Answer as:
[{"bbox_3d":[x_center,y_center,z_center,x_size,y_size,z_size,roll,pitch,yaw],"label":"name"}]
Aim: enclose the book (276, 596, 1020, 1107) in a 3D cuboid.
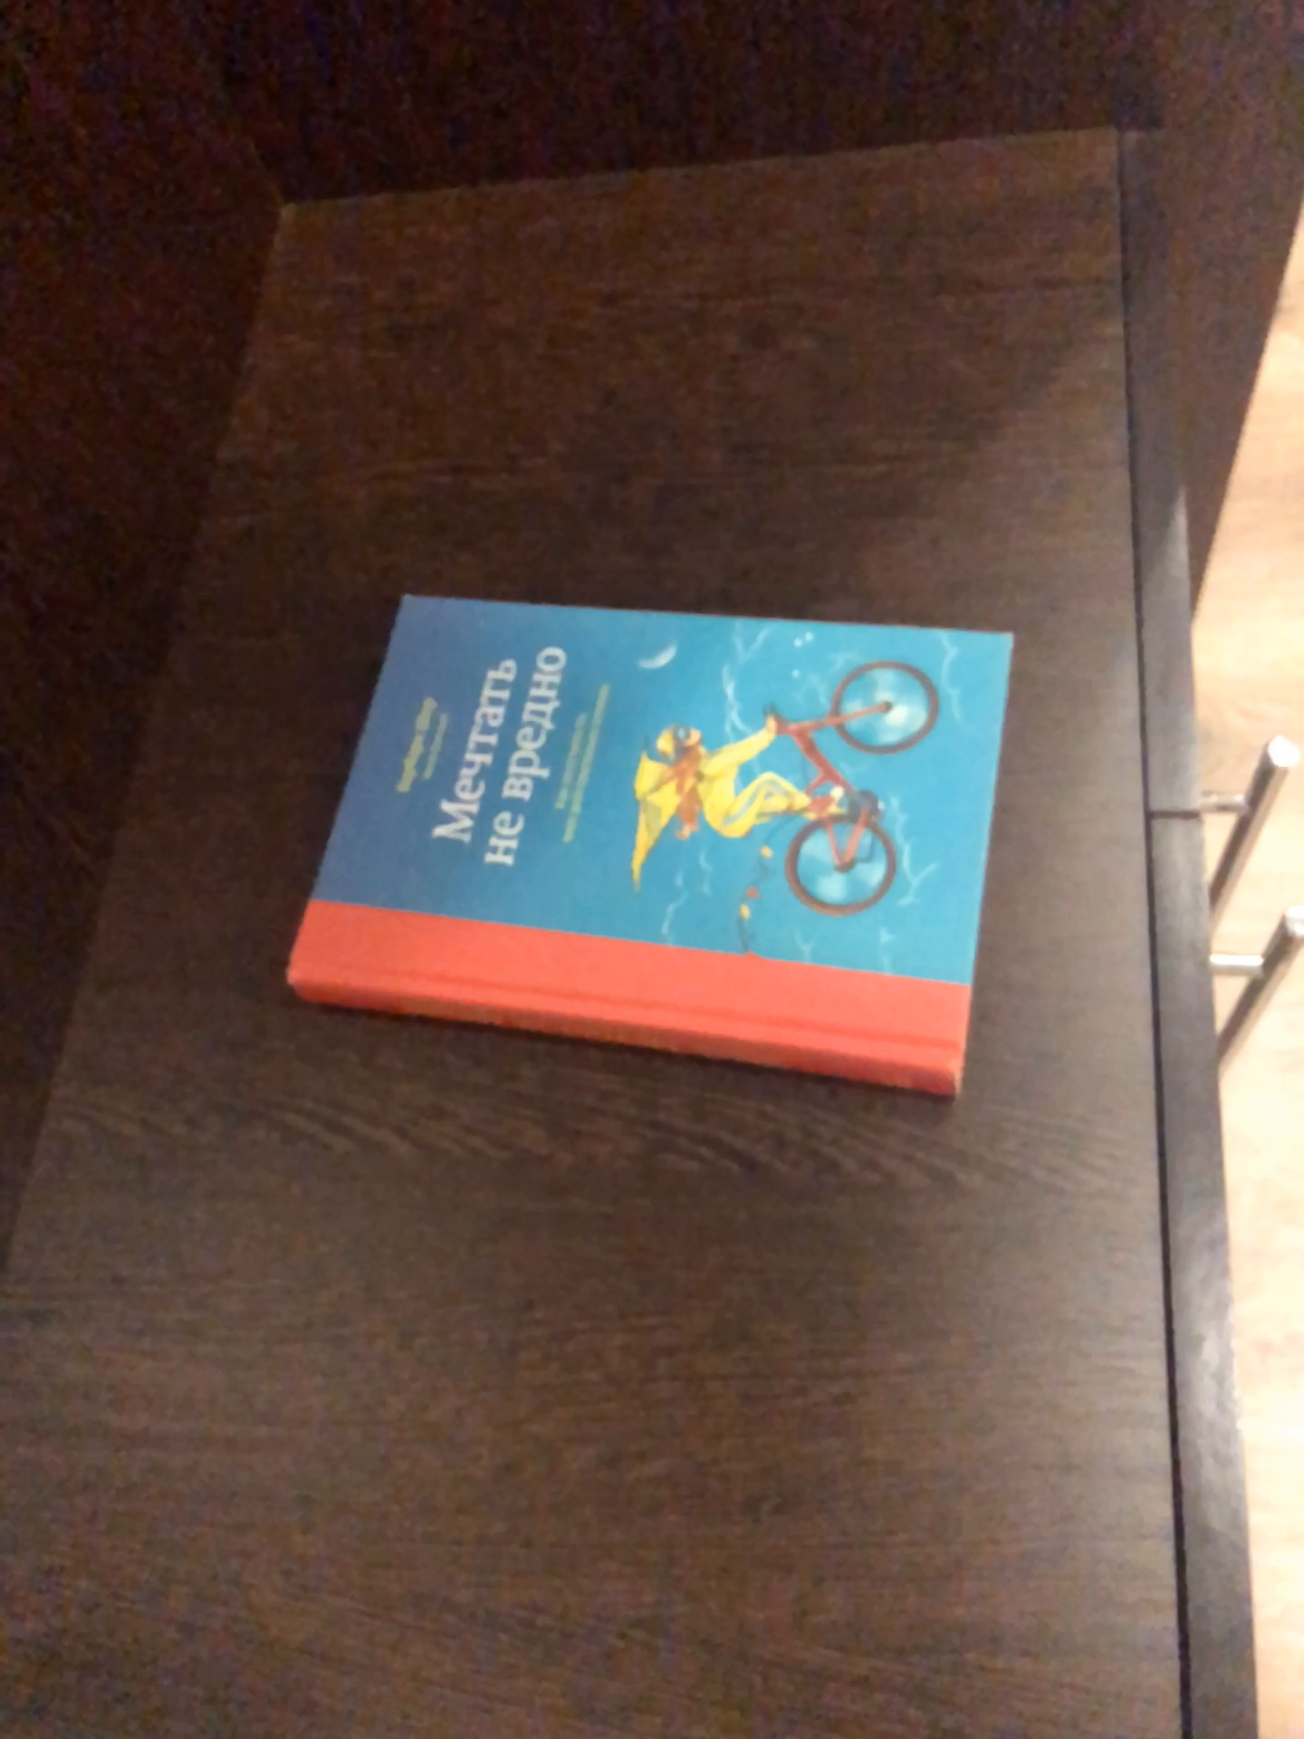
[{"bbox_3d":[0.002,-0.013,0.461,0.211,0.025,0.145,6,67,13],"label":"book"}]
